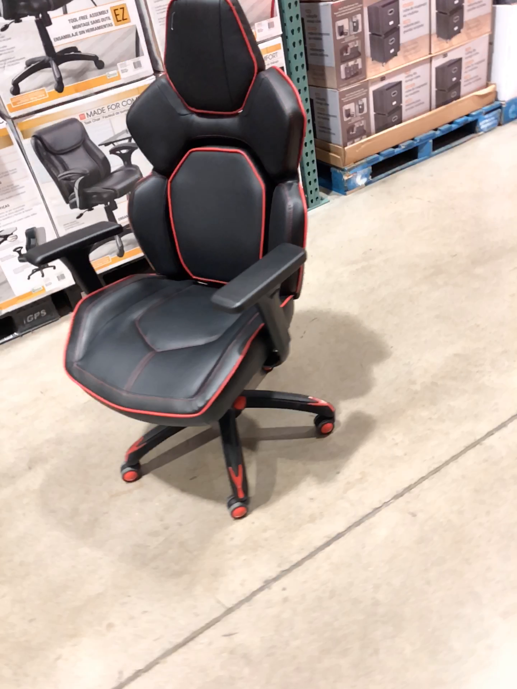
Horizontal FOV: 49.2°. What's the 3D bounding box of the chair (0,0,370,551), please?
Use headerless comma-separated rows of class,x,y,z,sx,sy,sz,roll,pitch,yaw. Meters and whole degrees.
chair,-0.198,-0.206,1.483,0.721,1.145,0.722,10,41,27
